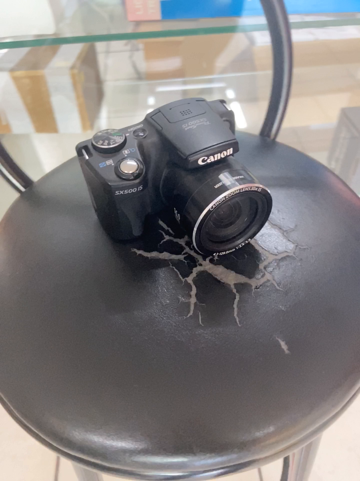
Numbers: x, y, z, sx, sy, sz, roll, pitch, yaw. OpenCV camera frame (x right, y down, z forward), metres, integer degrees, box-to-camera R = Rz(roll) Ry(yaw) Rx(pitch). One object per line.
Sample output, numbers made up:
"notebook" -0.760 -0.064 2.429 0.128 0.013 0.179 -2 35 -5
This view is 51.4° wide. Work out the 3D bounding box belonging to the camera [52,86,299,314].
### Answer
"camera" -0.004 -0.031 0.235 0.110 0.070 0.090 -25 49 -16
